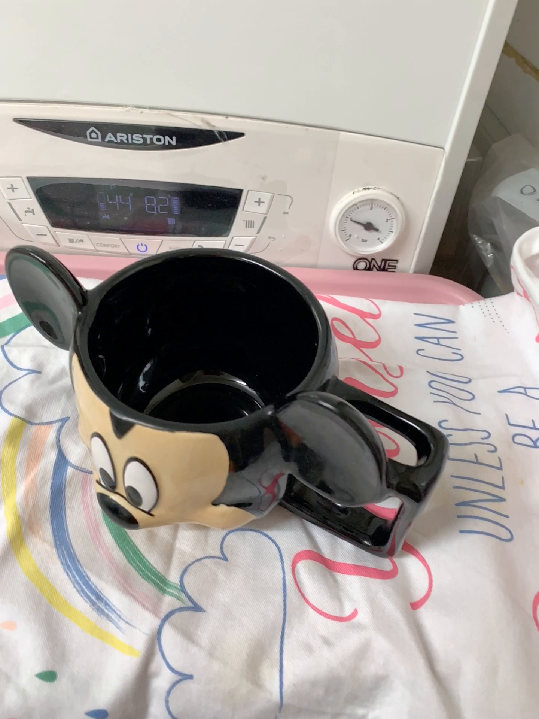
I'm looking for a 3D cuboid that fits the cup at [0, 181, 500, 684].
[{"bbox_3d":[-0.028,0.014,0.221,0.190,0.079,0.101,25,47,18],"label":"cup"}]
